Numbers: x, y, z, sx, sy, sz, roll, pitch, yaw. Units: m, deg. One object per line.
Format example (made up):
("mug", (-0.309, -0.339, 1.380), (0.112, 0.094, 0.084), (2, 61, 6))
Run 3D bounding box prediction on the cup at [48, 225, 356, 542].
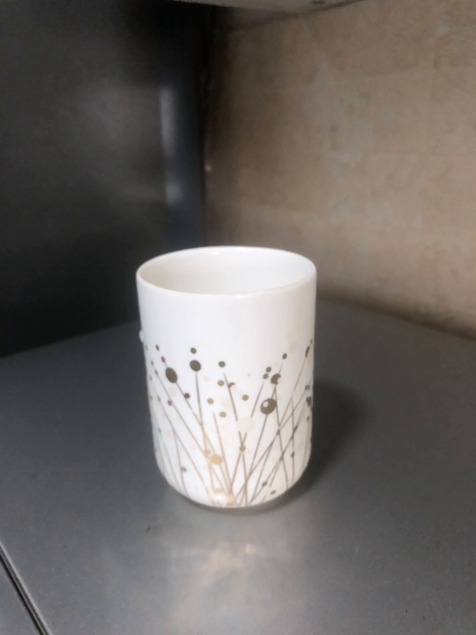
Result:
("cup", (-0.015, 0.018, 0.253), (0.110, 0.099, 0.080), (13, 24, 36))
